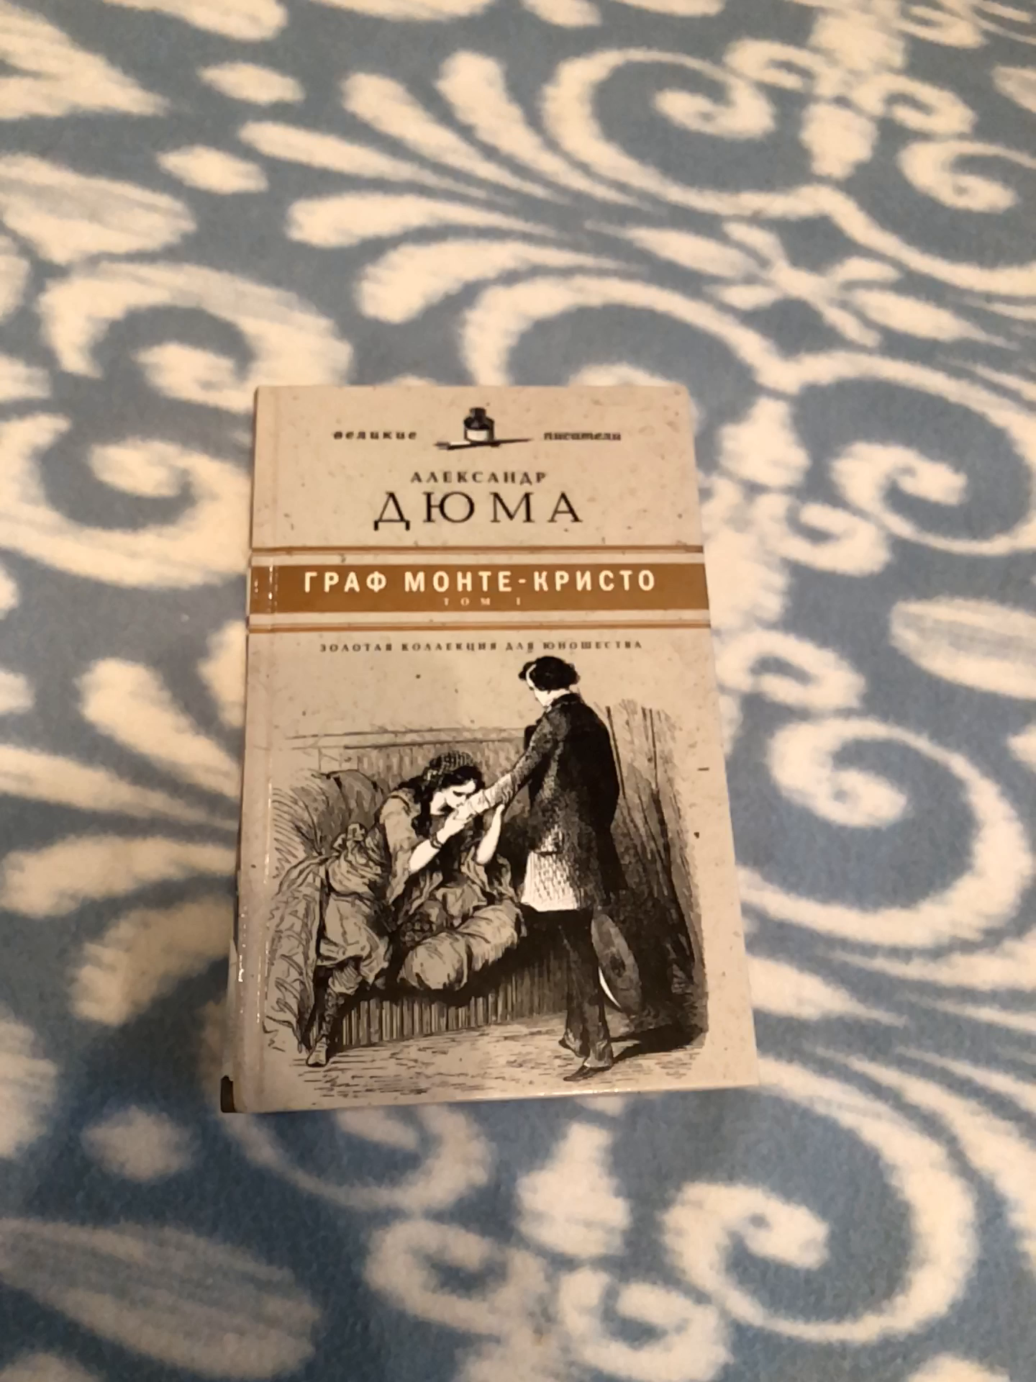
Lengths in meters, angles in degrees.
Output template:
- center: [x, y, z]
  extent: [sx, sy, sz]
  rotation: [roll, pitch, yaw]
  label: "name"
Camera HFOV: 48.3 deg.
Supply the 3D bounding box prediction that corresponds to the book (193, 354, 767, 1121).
- center: [-0.014, 0.006, 0.331]
  extent: [0.138, 0.040, 0.212]
  rotation: [-1, 71, -5]
  label: "book"
